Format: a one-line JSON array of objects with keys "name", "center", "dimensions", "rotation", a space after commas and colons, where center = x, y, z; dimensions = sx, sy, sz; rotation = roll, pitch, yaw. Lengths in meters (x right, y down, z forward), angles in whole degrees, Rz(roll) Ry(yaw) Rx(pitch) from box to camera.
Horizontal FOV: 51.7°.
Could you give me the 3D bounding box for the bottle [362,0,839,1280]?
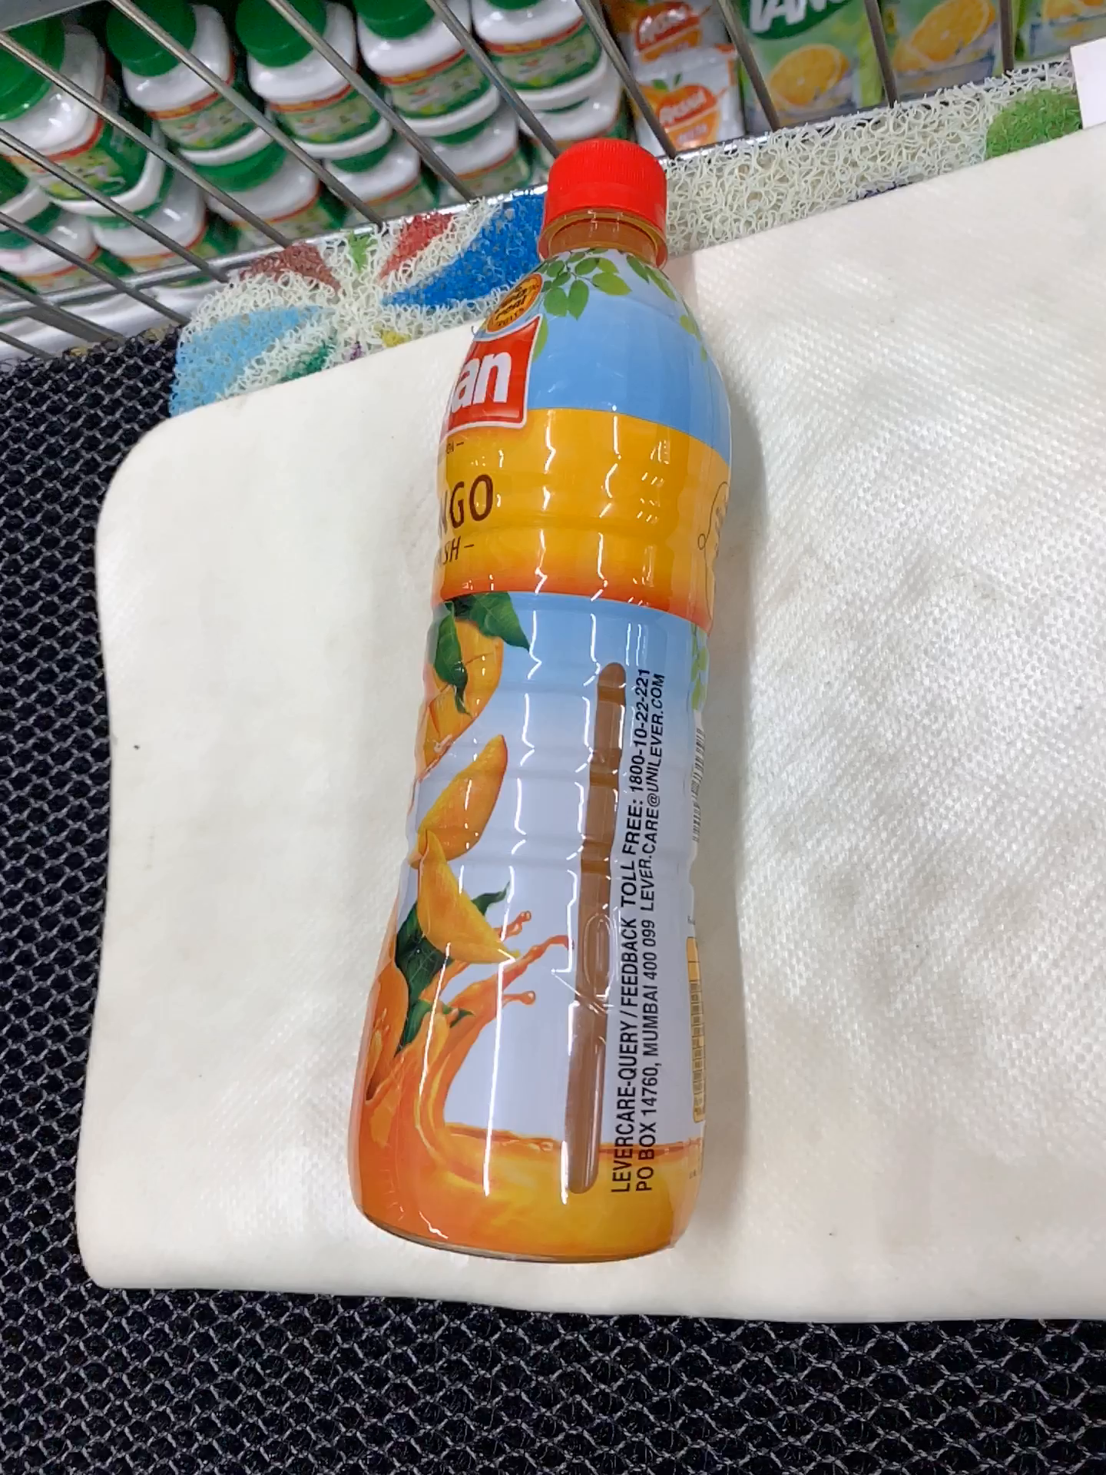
[{"name": "bottle", "center": [0.006, -0.021, 0.240], "dimensions": [0.080, 0.070, 0.230], "rotation": [2, 85, -13]}]
